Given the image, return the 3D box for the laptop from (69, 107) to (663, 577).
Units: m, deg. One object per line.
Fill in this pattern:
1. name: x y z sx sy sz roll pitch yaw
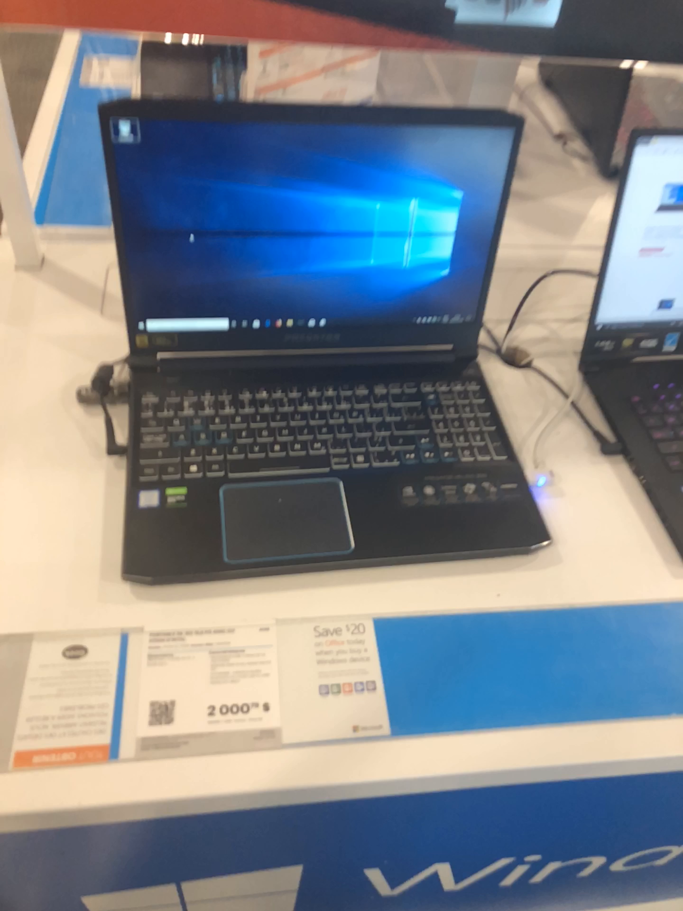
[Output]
1. laptop: -0.004 -0.098 0.601 0.348 0.230 0.274 -3 50 -9
